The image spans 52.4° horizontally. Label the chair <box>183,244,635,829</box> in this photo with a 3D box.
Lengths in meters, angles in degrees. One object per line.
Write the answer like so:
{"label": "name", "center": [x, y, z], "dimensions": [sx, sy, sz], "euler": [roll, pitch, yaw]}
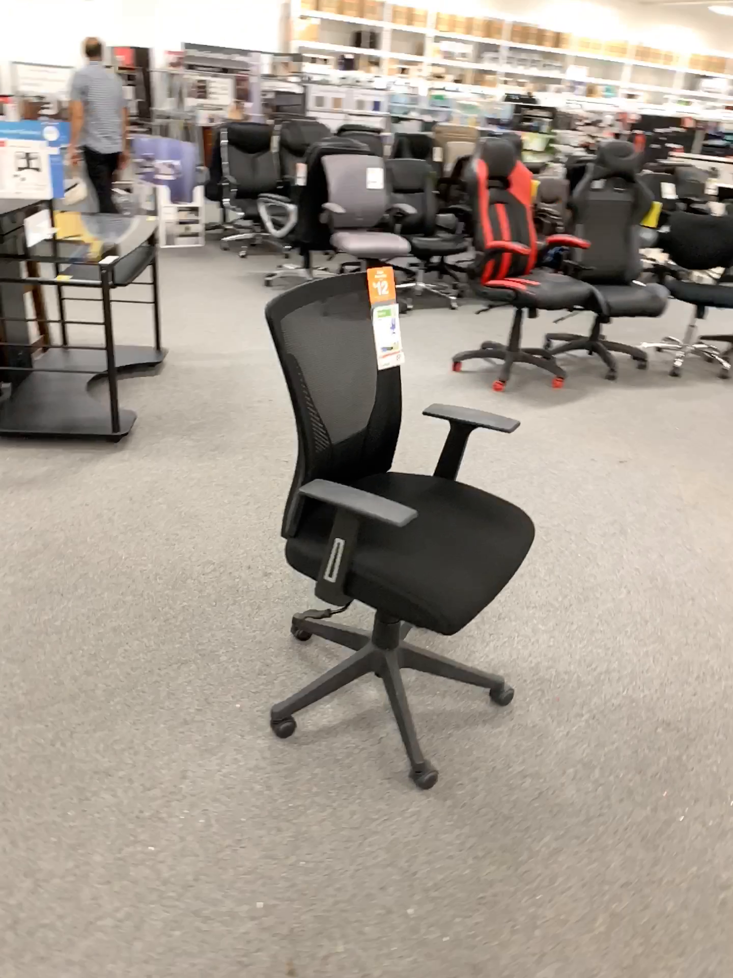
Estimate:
{"label": "chair", "center": [0.073, 0.037, 1.708], "dimensions": [0.642, 0.995, 0.672], "euler": [22, 32, 30]}
